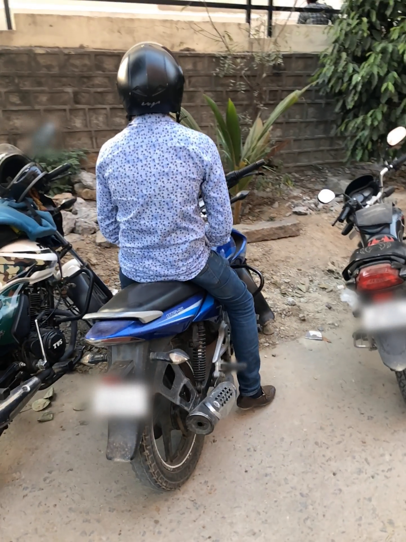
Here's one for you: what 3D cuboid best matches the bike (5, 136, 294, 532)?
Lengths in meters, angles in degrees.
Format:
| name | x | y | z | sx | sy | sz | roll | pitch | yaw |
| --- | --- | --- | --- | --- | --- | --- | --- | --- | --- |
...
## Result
| name | x | y | z | sx | sy | sz | roll | pitch | yaw |
| --- | --- | --- | --- | --- | --- | --- | --- | --- | --- |
| bike | -0.037 | 0.052 | 2.155 | 0.754 | 1.076 | 1.584 | 6 | 26 | 14 |
